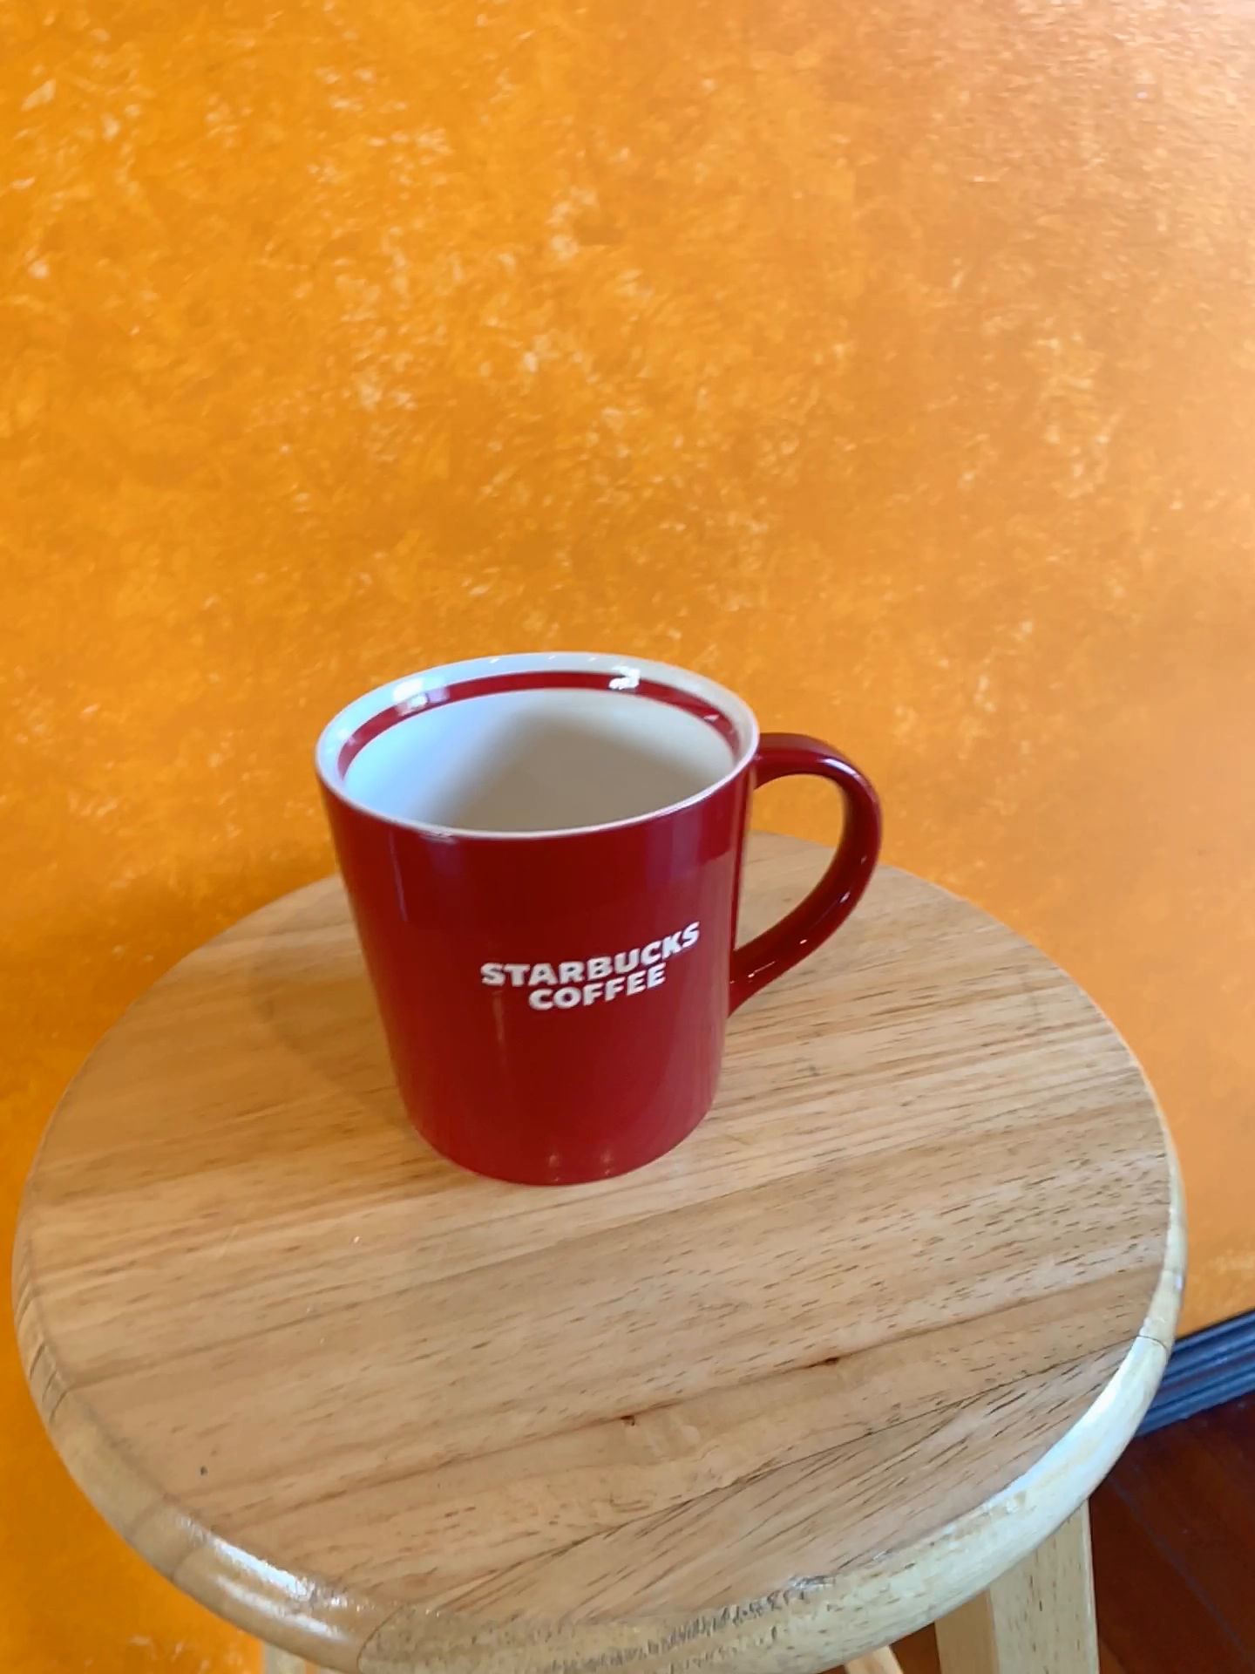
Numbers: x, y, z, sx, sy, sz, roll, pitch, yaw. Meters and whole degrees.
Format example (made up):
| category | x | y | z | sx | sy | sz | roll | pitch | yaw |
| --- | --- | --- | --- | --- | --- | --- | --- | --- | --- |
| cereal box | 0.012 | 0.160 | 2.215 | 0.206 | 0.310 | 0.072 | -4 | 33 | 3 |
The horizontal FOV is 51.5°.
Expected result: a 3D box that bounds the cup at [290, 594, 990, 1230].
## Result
| category | x | y | z | sx | sy | sz | roll | pitch | yaw |
| --- | --- | --- | --- | --- | --- | --- | --- | --- | --- |
| cup | -0.002 | 0.010 | 0.329 | 0.140 | 0.099 | 0.101 | -10 | 30 | -15 |
